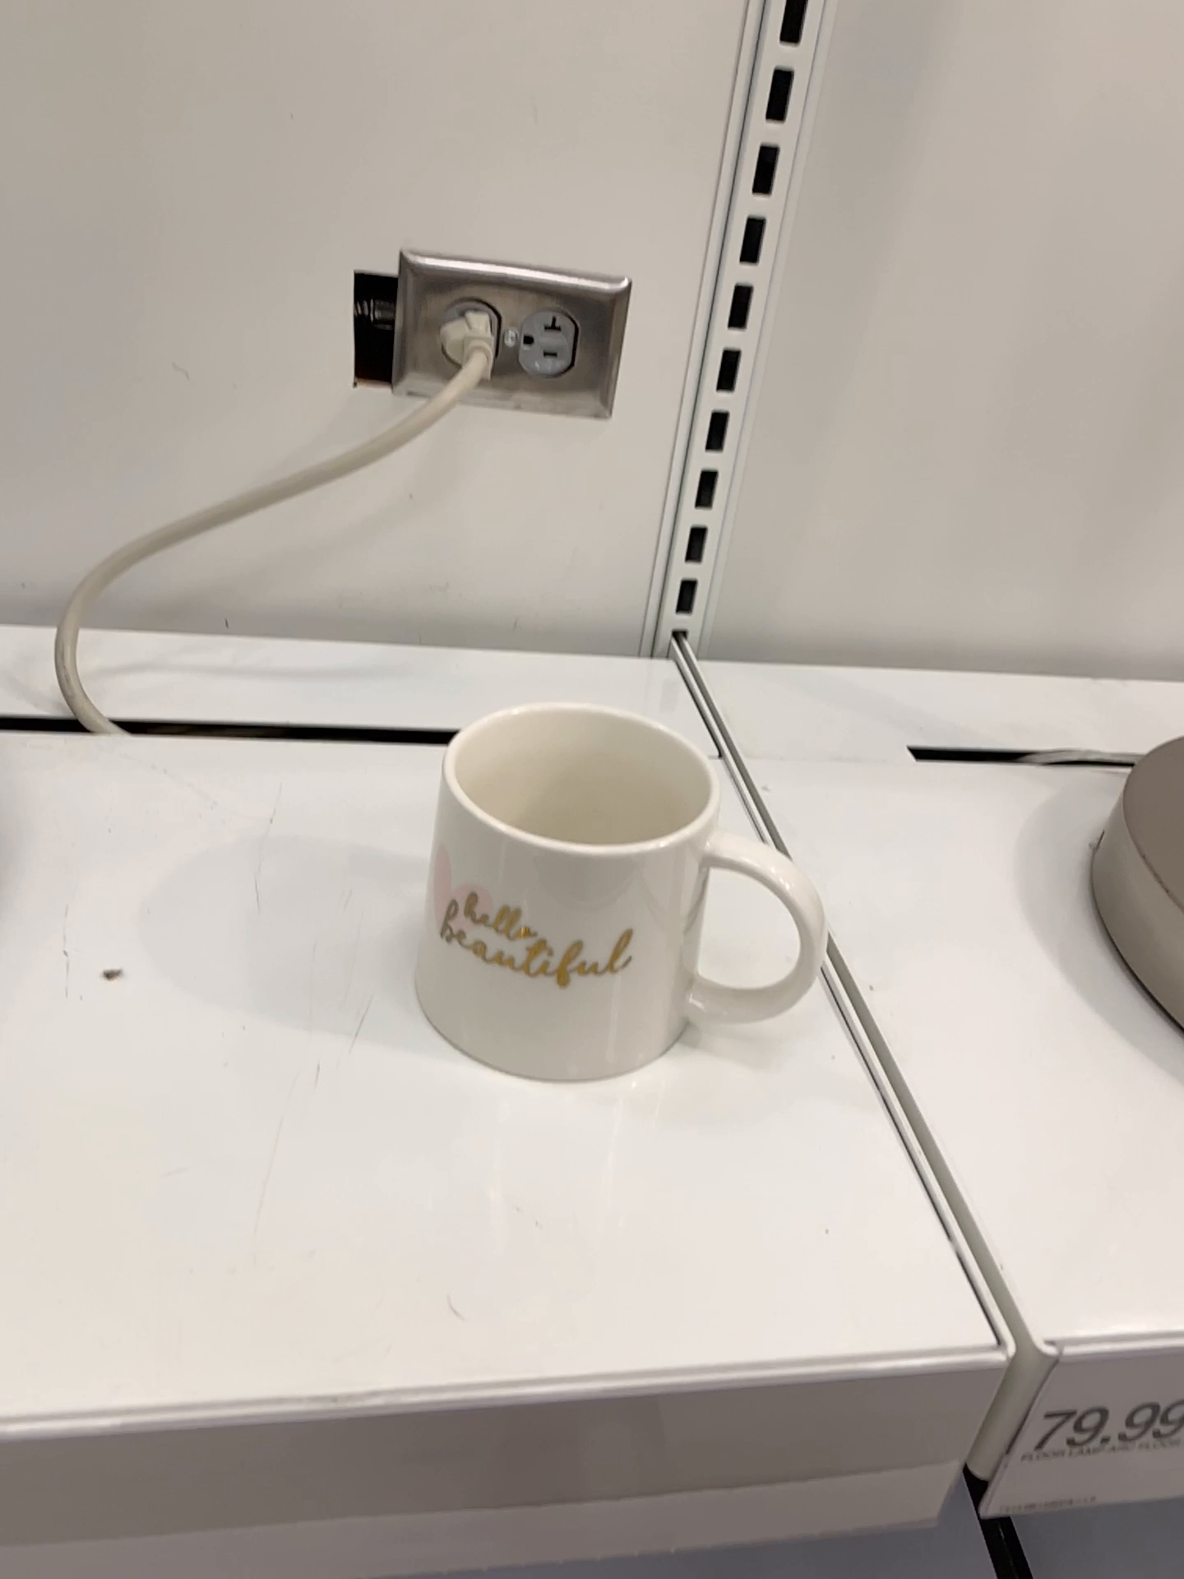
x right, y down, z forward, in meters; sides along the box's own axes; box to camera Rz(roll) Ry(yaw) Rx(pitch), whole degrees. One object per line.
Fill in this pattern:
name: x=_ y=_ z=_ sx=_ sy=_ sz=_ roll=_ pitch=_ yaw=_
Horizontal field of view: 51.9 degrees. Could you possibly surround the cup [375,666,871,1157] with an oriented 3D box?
cup: x=0.011 y=0.037 z=0.438 sx=0.140 sy=0.097 sz=0.105 roll=17 pitch=34 yaw=17
